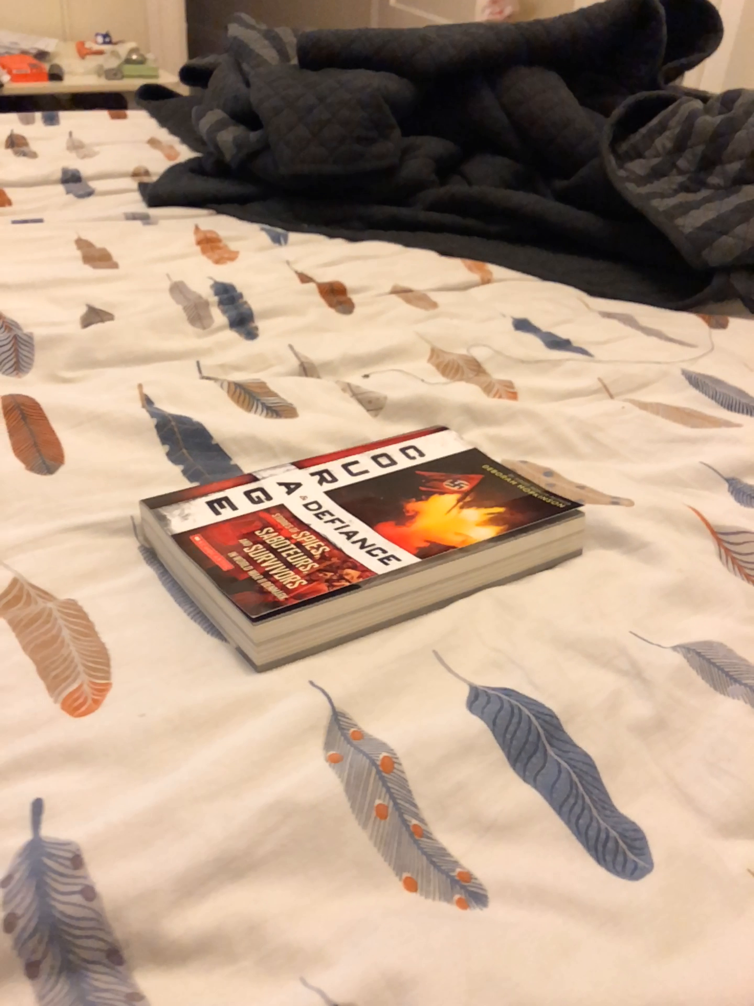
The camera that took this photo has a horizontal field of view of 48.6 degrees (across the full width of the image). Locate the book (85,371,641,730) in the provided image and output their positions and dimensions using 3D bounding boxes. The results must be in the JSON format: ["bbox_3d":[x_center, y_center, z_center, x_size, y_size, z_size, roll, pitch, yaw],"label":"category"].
[{"bbox_3d":[-0.010,0.001,0.460,0.231,0.020,0.201,-20,42,-31],"label":"book"}]
